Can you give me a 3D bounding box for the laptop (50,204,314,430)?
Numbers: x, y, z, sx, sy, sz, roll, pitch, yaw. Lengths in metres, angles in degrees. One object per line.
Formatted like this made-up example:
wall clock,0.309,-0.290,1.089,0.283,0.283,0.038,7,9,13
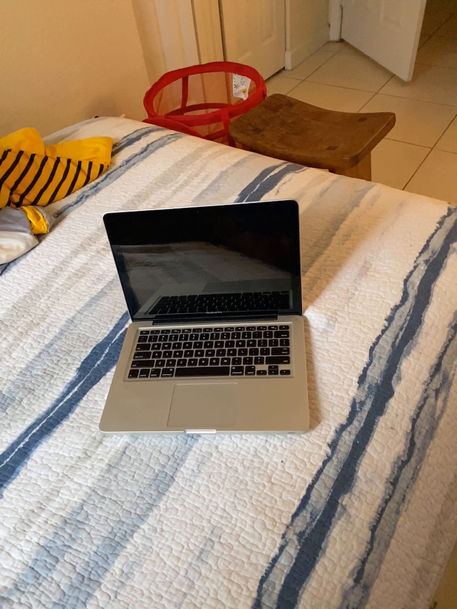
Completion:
laptop,-0.043,0.018,0.716,0.318,0.199,0.279,-2,46,7
